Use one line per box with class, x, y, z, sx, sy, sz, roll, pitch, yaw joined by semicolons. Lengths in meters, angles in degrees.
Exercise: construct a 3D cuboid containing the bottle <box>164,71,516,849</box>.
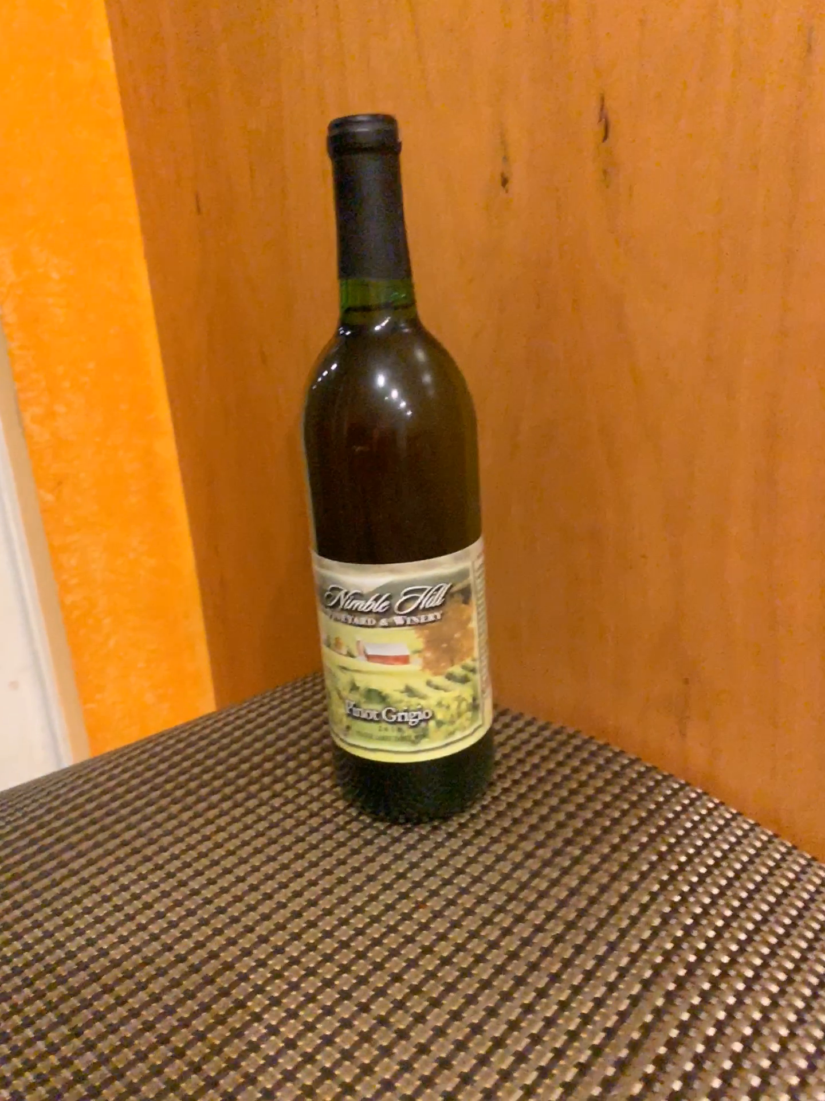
bottle;-0.018;-0.028;0.345;0.090;0.269;0.080;4;19;25
